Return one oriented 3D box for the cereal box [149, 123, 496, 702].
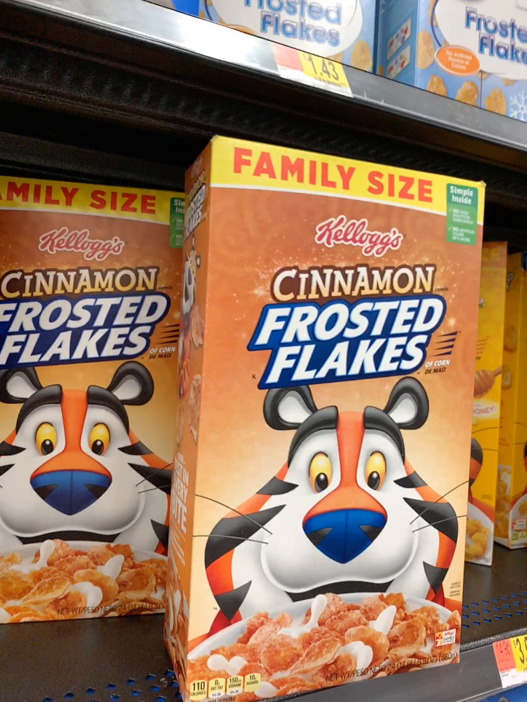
[{"bbox_3d":[0.042,0.045,0.377,0.210,0.340,0.070,3,0,-20],"label":"cereal box"}]
